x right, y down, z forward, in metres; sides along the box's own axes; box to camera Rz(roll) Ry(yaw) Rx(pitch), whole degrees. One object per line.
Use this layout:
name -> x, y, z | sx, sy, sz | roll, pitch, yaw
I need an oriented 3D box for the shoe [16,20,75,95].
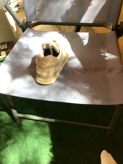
shoe -> -0.043, -0.108, 0.531 | 0.124, 0.104, 0.288 | 11, 60, 14
